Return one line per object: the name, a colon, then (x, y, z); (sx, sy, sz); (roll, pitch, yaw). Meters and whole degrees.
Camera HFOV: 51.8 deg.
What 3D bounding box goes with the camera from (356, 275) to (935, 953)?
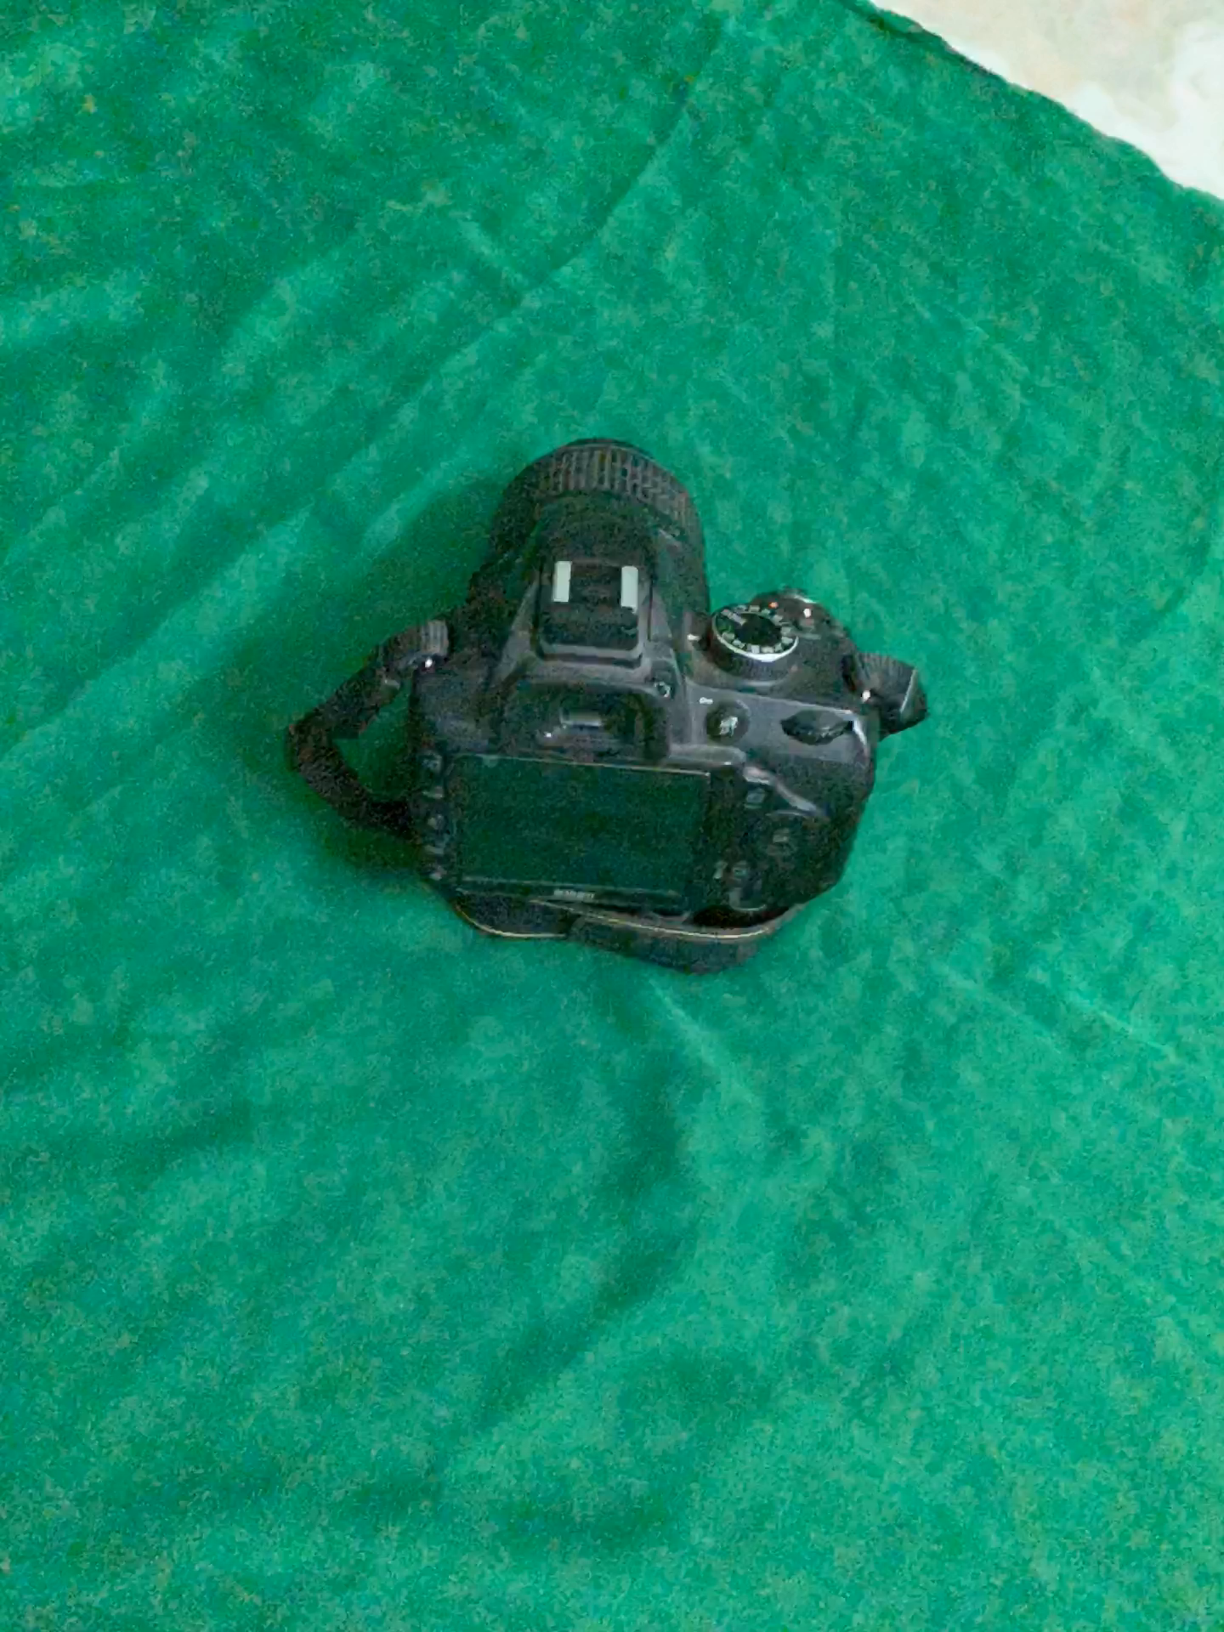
camera: (0.005, -0.063, 0.377); (0.133, 0.100, 0.166); (7, 50, -5)
